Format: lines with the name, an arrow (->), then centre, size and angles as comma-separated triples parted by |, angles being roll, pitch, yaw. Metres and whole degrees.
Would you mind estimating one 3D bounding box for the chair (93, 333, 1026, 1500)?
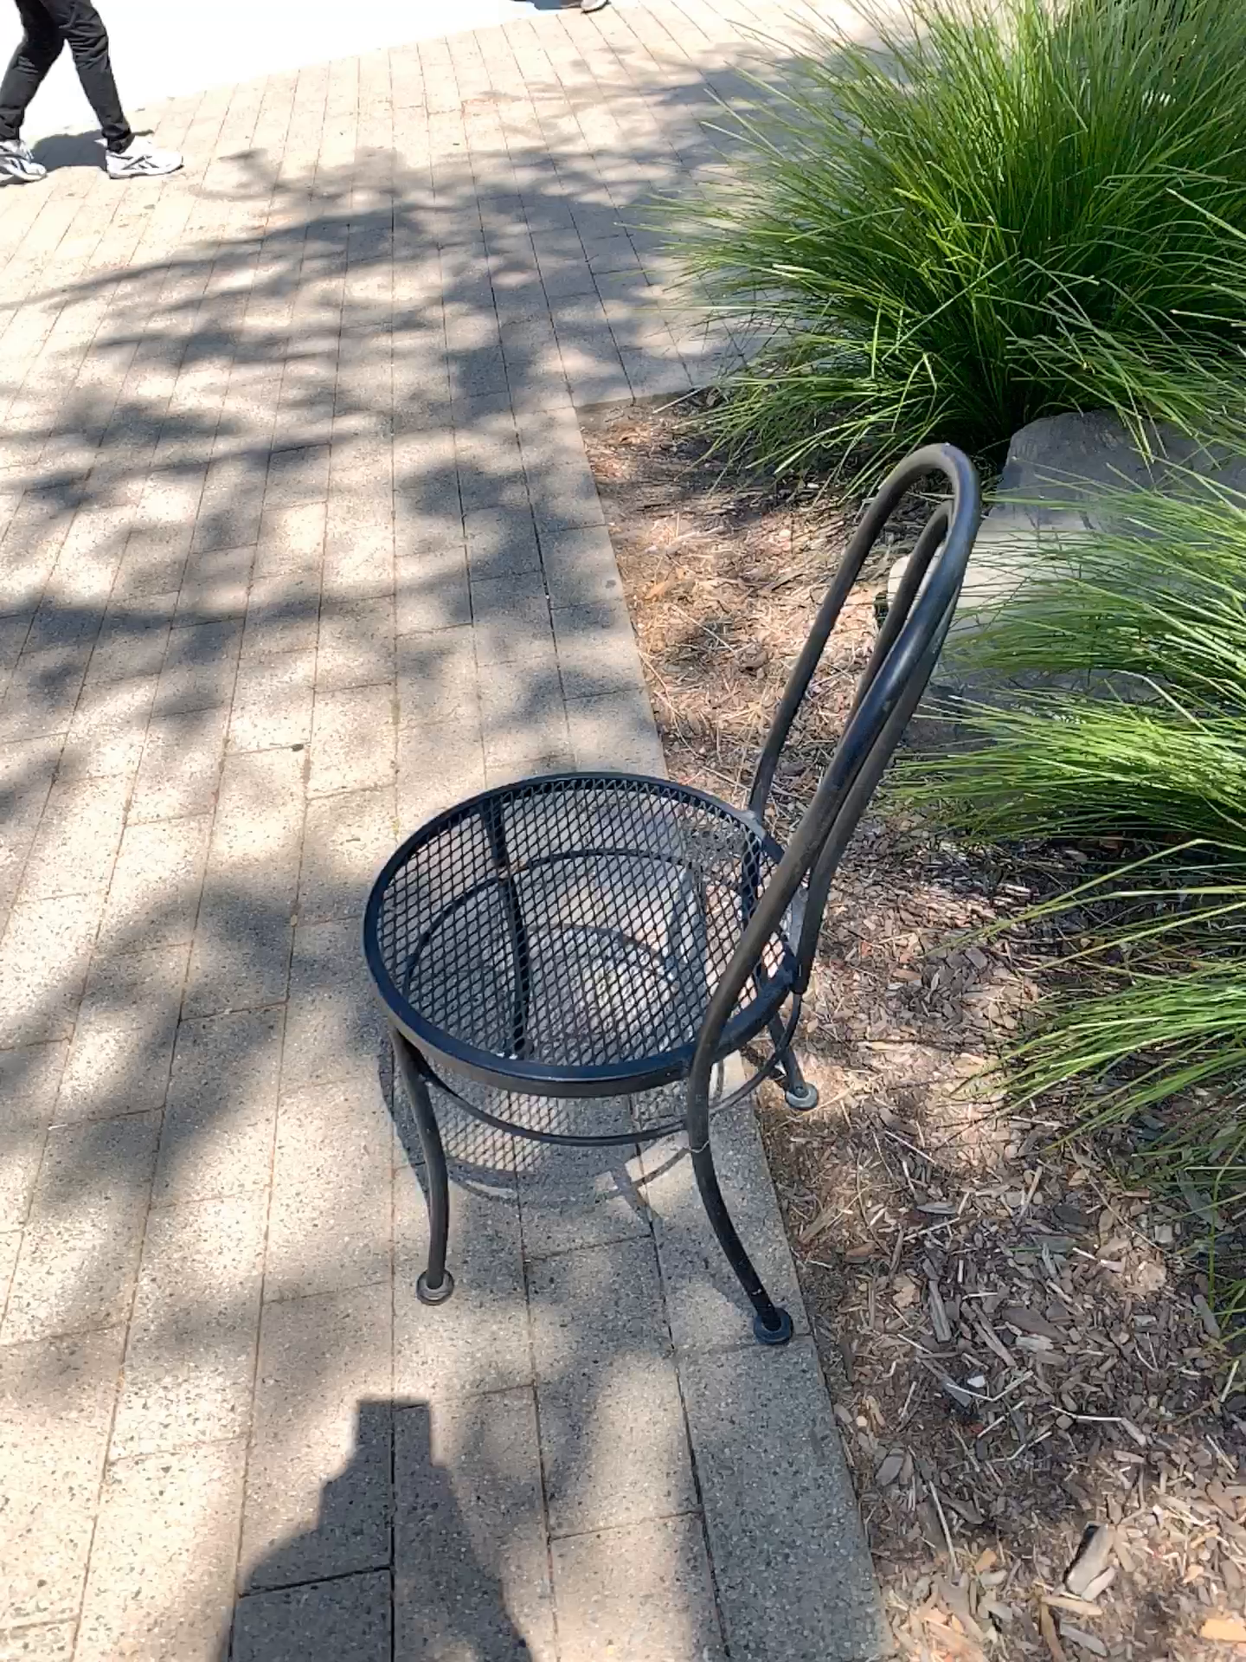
chair -> 0.040, 0.129, 1.196 | 0.532, 0.997, 0.460 | 5, 43, 13
